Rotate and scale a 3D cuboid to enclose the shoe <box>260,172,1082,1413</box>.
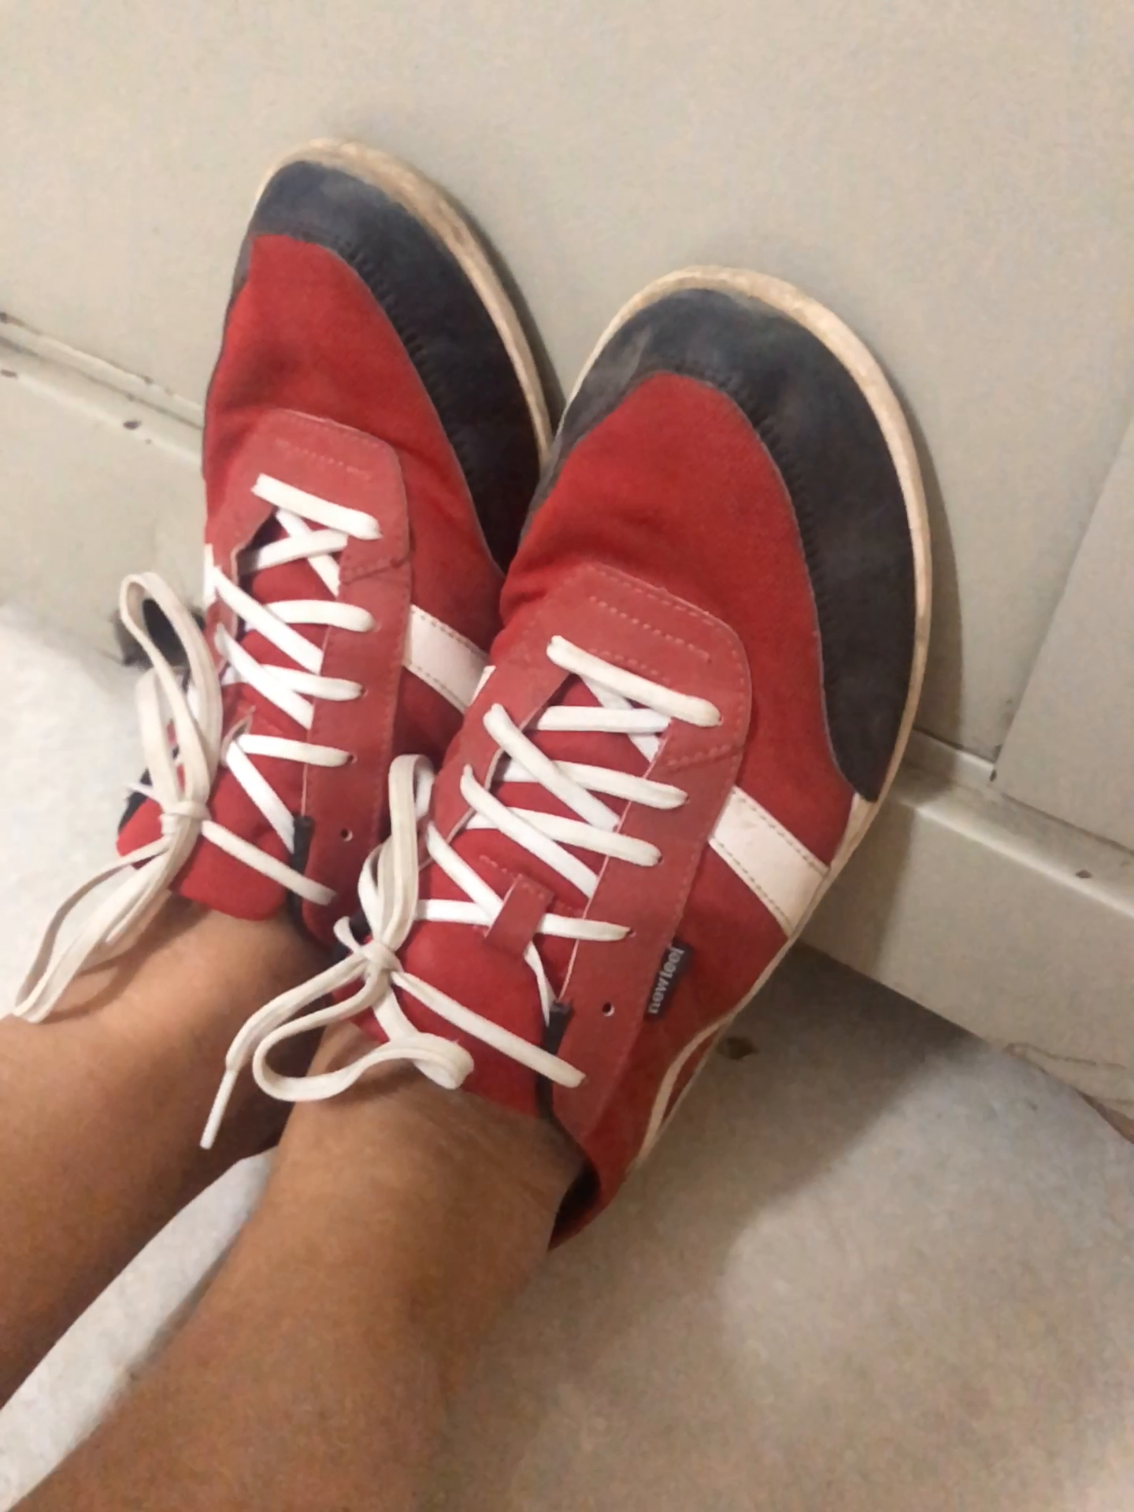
[{"bbox_3d":[0.017,0.012,0.302,0.100,0.249,0.080,25,21,20],"label":"shoe"}]

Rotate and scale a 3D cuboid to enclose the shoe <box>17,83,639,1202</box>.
[{"bbox_3d":[-0.061,-0.024,0.312,0.100,0.229,0.080,15,18,12],"label":"shoe"}]
